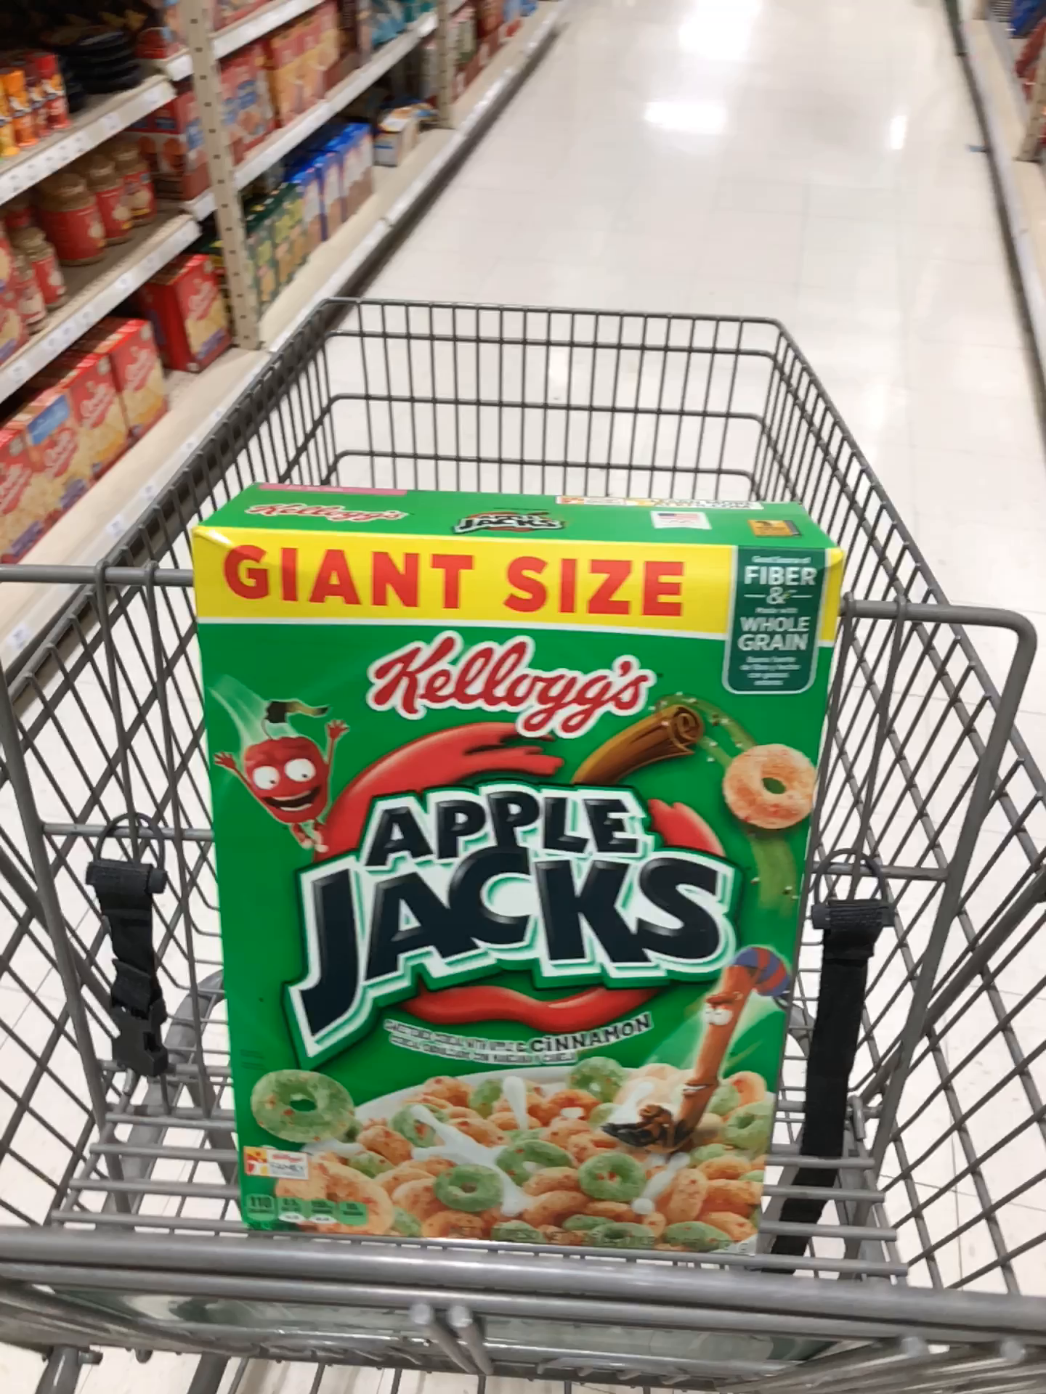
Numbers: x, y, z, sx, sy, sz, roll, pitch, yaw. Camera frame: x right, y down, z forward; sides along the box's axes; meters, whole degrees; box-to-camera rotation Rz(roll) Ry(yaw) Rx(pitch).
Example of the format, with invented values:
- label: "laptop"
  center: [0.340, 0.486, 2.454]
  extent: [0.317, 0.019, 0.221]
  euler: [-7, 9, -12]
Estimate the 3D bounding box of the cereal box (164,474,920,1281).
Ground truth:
- label: "cereal box"
  center: [0.004, 0.079, 0.480]
  extent: [0.250, 0.320, 0.090]
  euler: [2, 21, 2]
